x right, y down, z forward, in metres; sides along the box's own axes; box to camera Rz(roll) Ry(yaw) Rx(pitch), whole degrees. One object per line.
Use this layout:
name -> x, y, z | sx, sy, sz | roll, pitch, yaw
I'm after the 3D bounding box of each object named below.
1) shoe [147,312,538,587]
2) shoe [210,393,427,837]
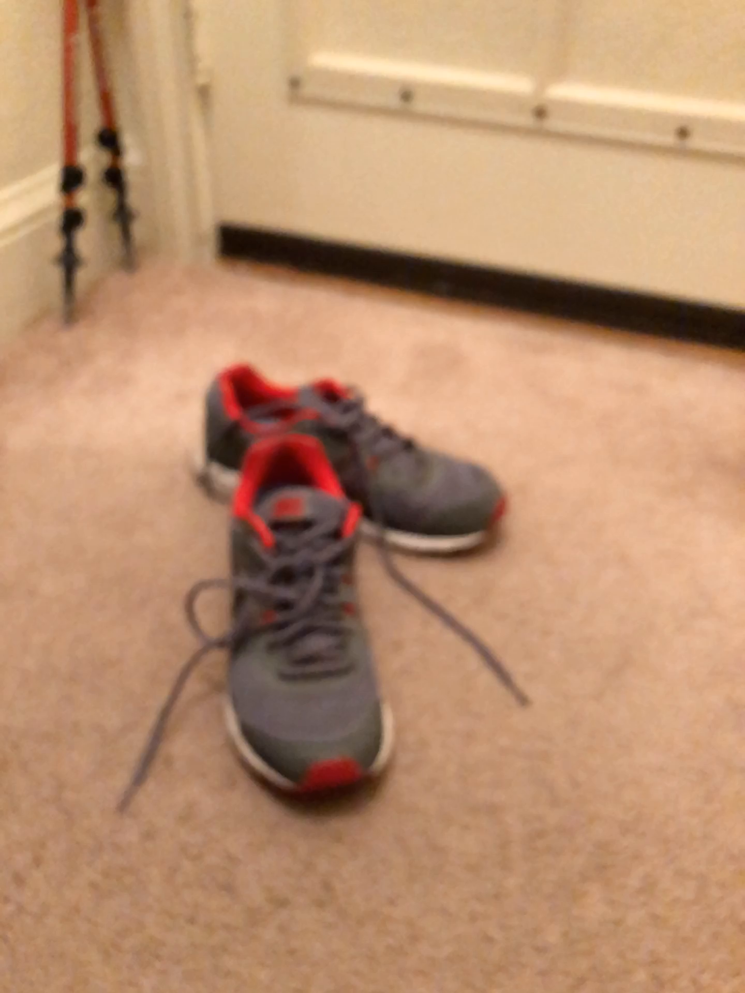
shoe -> -0.027, -0.048, 0.730 | 0.297, 0.119, 0.114 | 17, 41, 17
shoe -> -0.048, 0.061, 0.597 | 0.113, 0.119, 0.299 | -3, 40, -7
